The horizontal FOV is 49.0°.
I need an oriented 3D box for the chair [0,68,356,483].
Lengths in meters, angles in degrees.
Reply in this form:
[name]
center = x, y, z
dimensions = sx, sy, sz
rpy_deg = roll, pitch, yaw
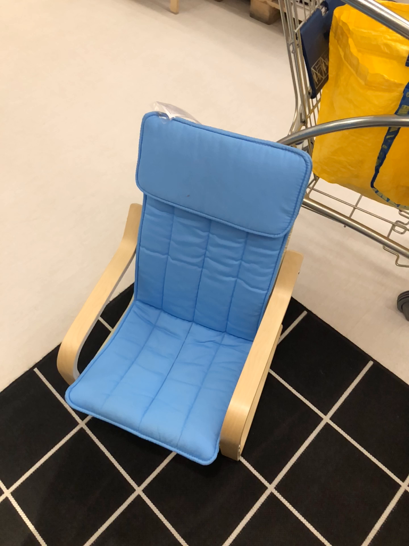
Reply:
[chair]
center = -0.033, 0.084, 1.157
dimensions = 0.490, 0.876, 0.562
rpy_deg = 19, 59, 13
